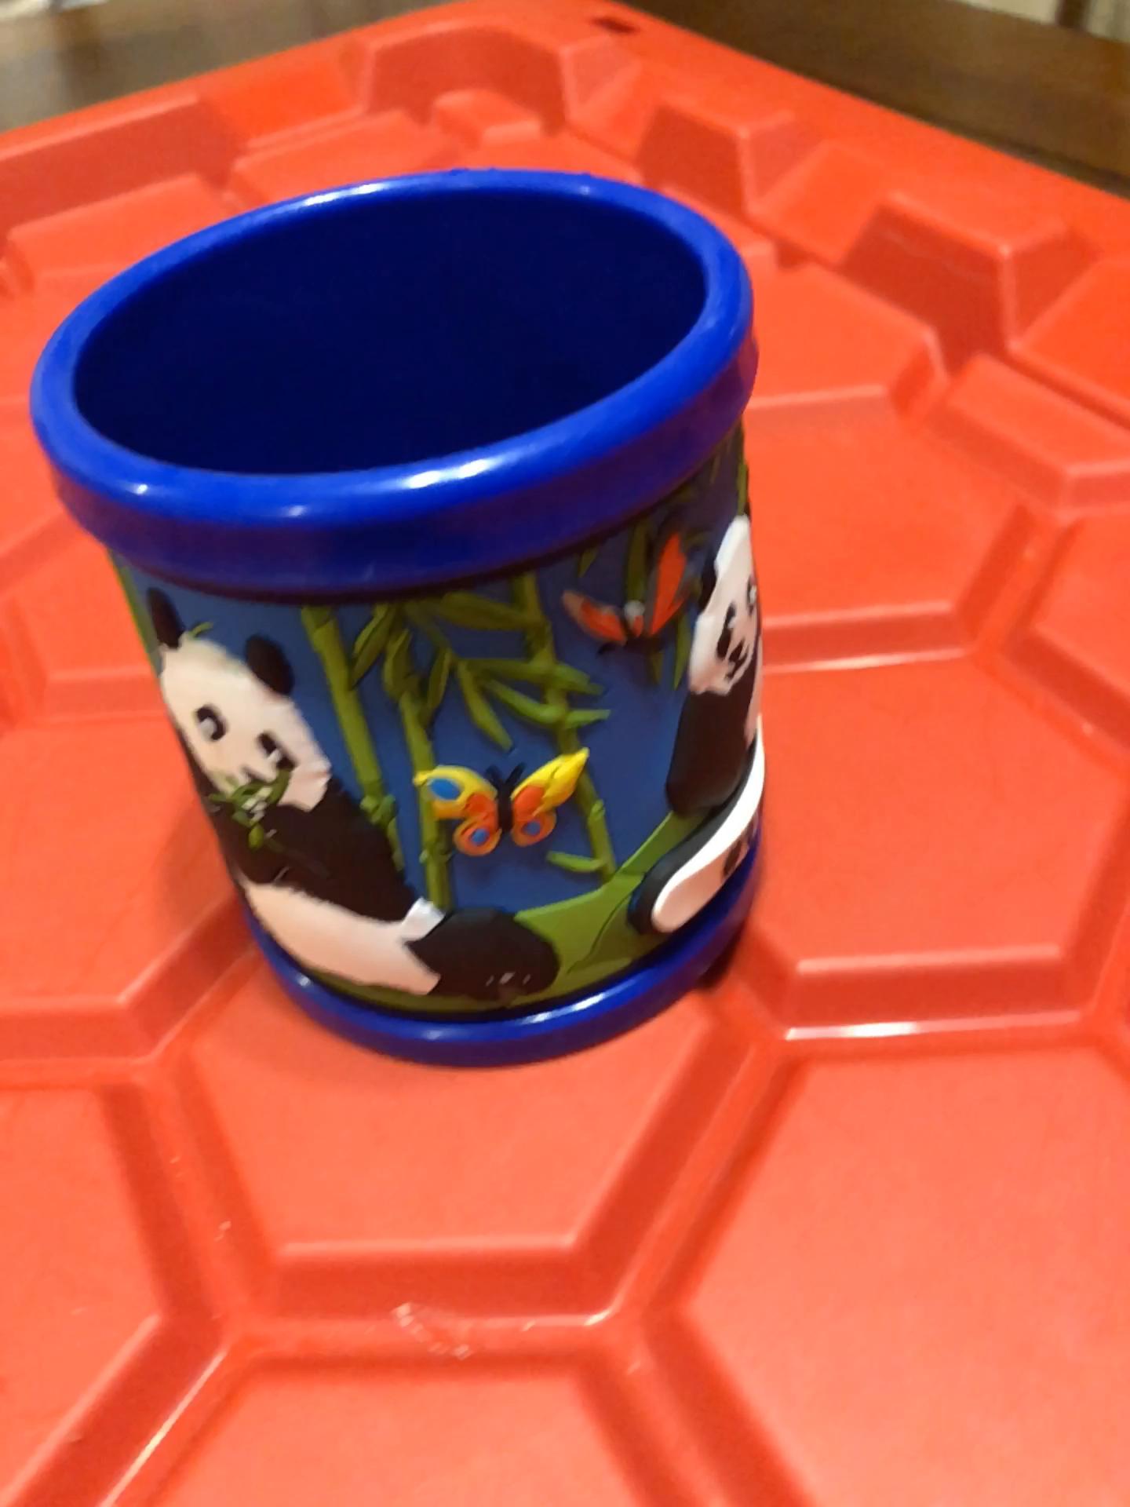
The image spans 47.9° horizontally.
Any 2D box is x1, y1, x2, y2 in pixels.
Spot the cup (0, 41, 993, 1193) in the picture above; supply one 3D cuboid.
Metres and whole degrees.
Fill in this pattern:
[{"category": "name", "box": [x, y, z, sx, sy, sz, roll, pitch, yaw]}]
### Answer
[{"category": "cup", "box": [-0.003, -0.029, 0.184, 0.090, 0.099, 0.121, 14, 47, 21]}]
